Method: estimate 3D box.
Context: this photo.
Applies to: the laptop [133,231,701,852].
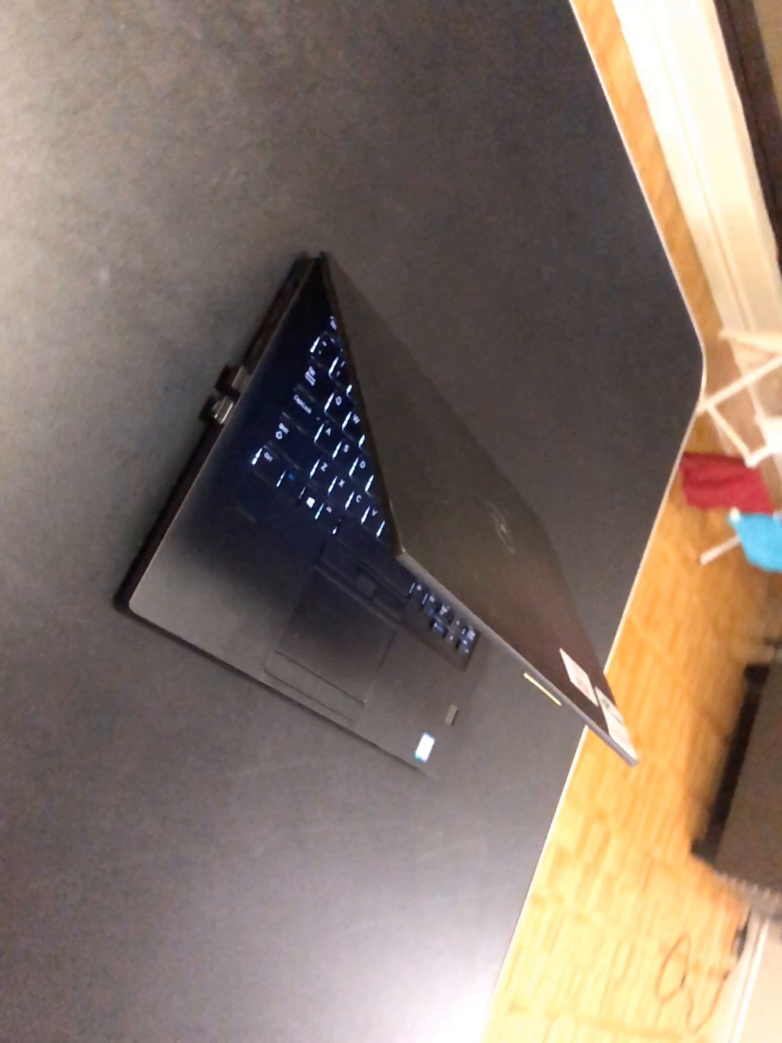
[{"bbox_3d":[0.049,0.032,0.527,0.320,0.142,0.220,43,64,-46],"label":"laptop"}]
